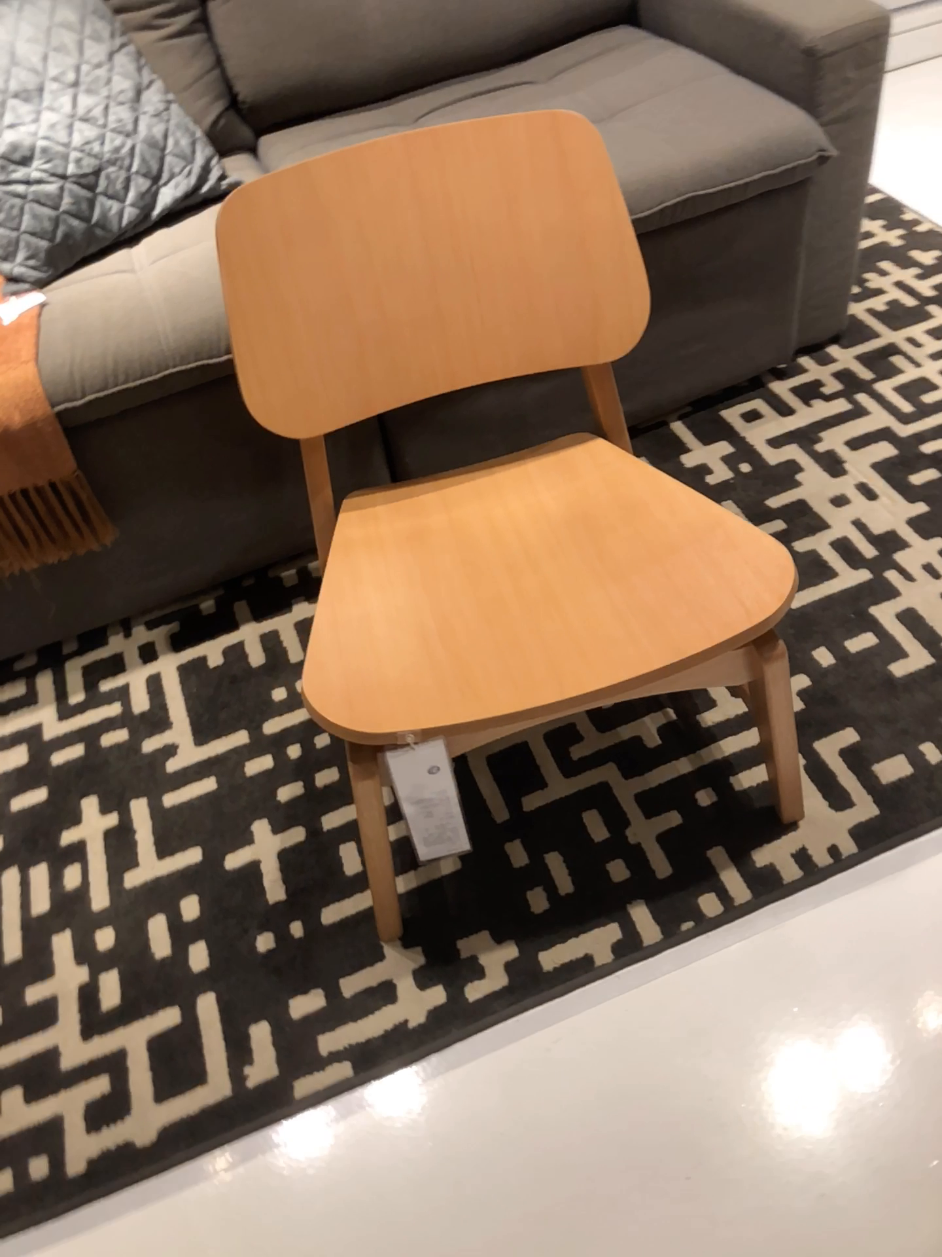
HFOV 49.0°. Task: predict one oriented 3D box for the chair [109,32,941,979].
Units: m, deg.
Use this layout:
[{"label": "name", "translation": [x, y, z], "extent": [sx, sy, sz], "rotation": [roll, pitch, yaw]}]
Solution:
[{"label": "chair", "translation": [0.044, -0.145, 1.138], "extent": [0.640, 0.625, 0.655], "rotation": [-16, 47, -5]}]
